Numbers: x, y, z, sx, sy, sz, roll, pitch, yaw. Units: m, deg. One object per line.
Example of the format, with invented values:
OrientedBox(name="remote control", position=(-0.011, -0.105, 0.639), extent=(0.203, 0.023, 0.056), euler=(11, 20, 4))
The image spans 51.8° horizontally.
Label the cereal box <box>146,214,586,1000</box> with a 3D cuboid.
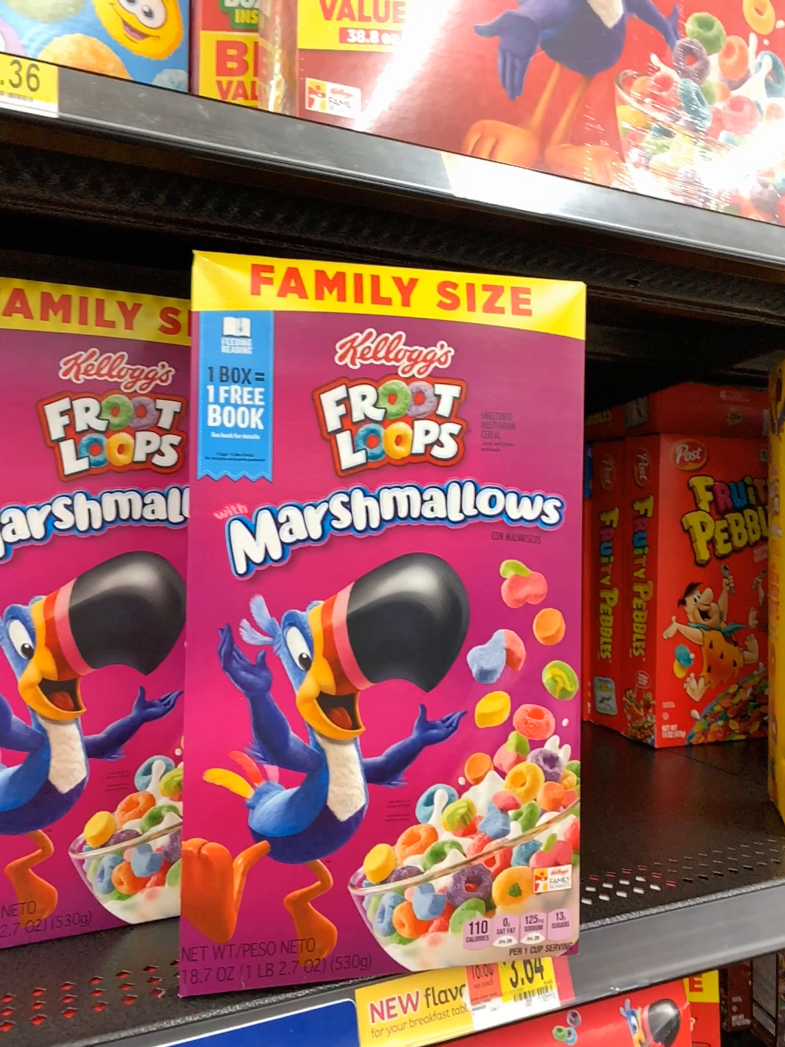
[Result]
OrientedBox(name="cereal box", position=(-0.014, 0.036, 0.411), extent=(0.200, 0.340, 0.080), euler=(1, -1, -12))
